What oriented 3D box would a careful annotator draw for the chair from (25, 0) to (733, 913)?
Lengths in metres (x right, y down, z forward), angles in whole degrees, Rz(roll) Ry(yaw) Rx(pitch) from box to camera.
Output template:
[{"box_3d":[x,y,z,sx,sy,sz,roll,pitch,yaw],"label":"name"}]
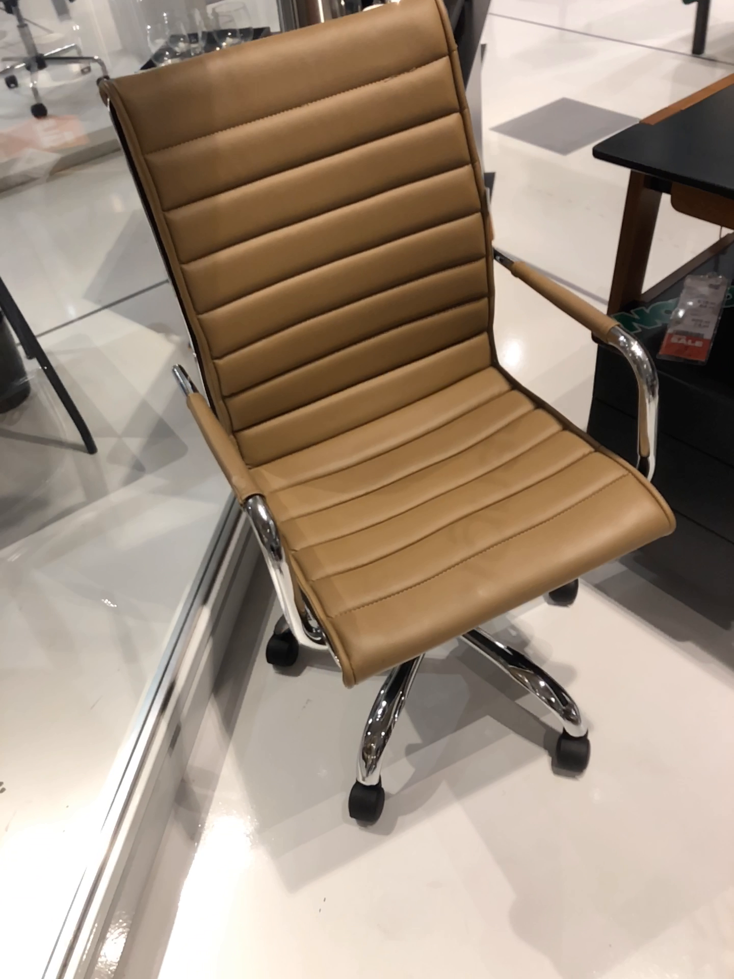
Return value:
[{"box_3d":[0.068,-0.039,1.092,0.601,0.943,0.614,-22,45,-13],"label":"chair"}]
